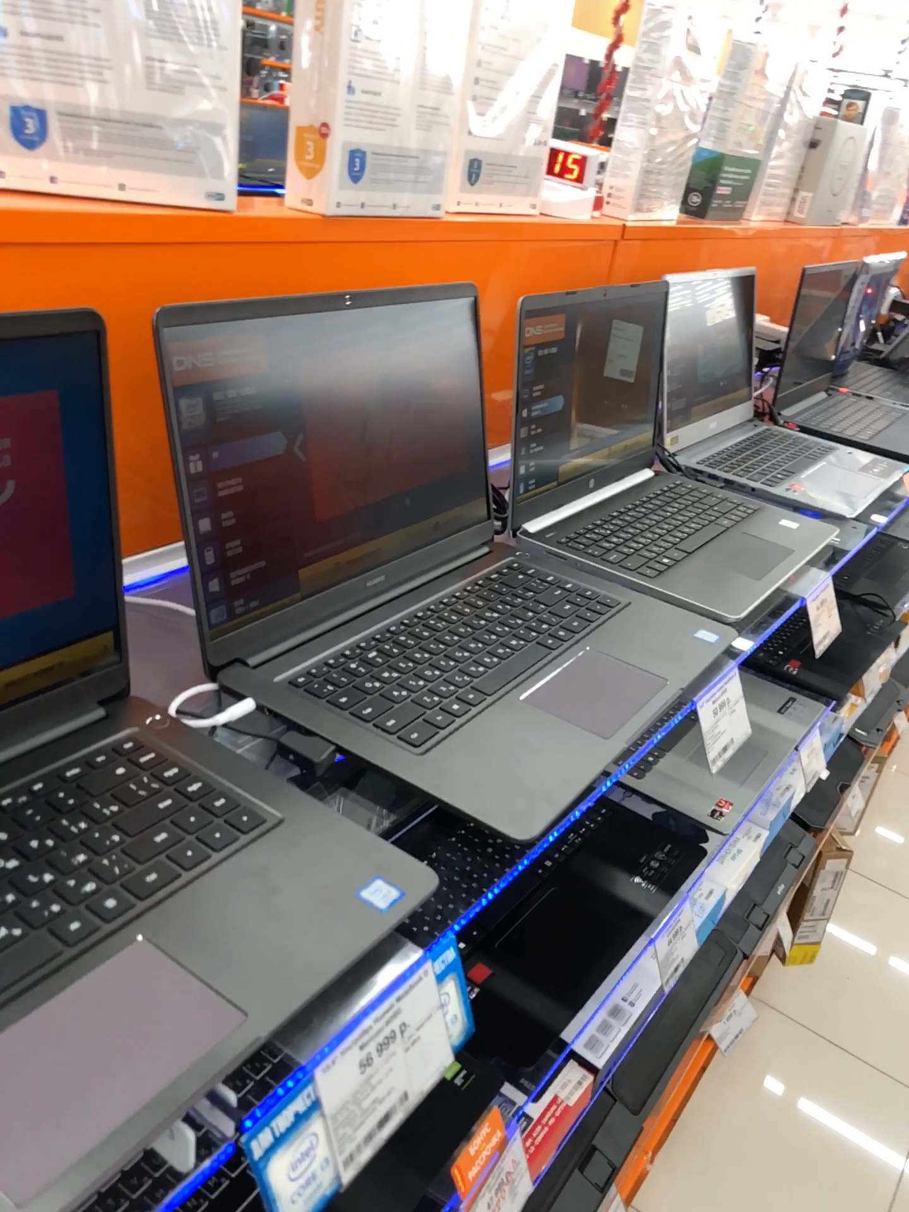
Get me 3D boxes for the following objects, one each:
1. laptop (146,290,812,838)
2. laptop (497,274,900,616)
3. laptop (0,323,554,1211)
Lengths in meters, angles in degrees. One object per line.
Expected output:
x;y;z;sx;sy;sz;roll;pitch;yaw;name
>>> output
0.026;-0.070;0.681;0.287;0.212;0.340;23;29;26;laptop
0.232;-0.174;0.951;0.243;0.195;0.270;26;34;30;laptop
-0.190;0.046;0.361;0.241;0.230;0.356;21;28;26;laptop
